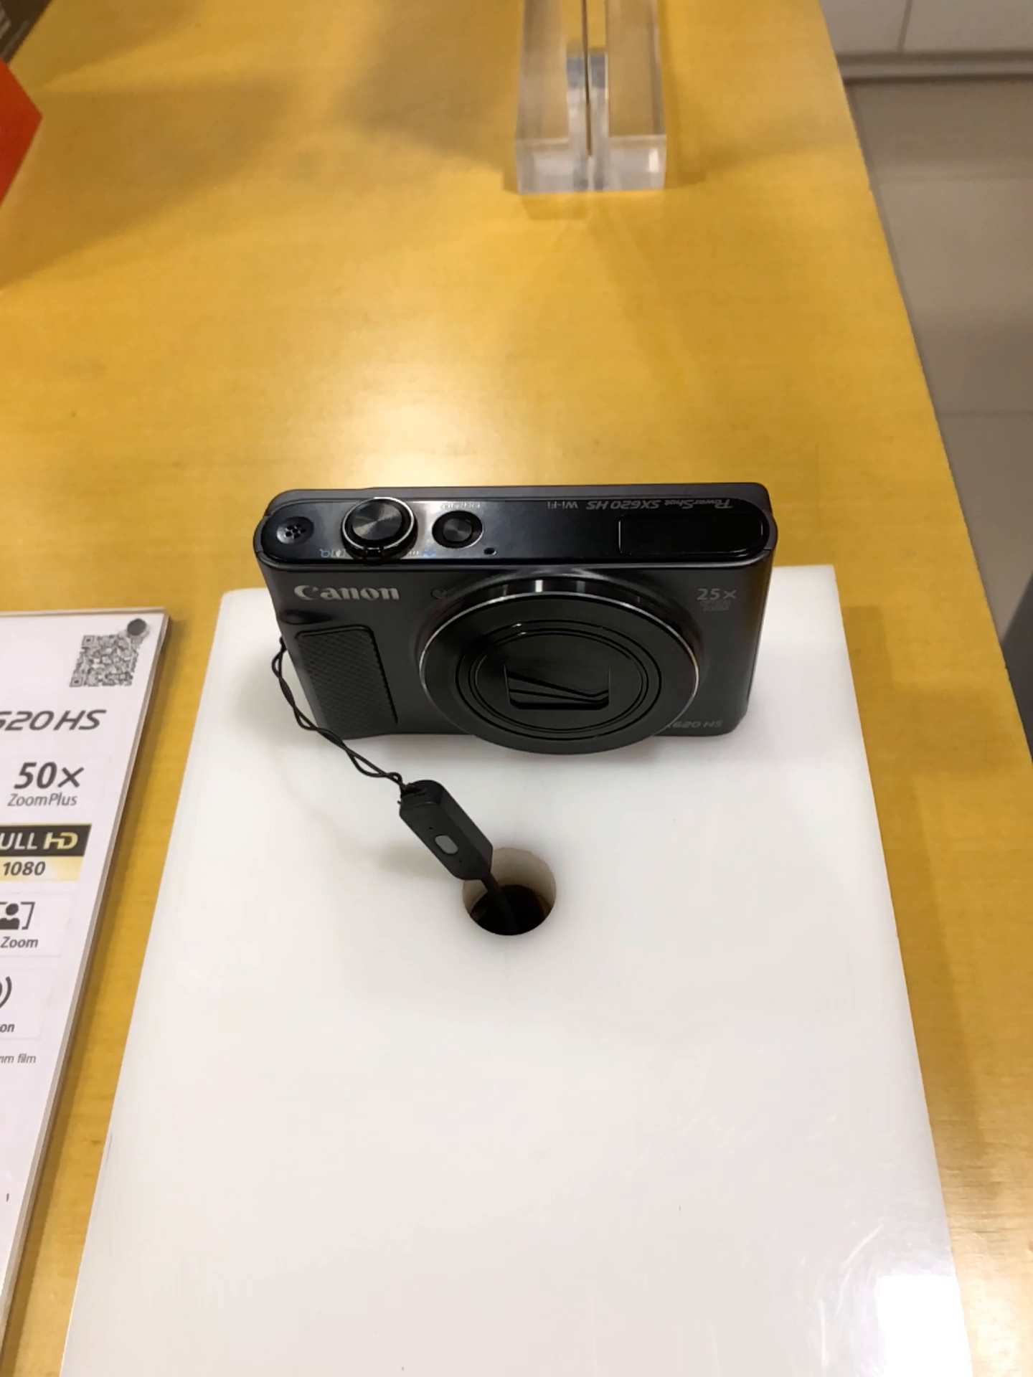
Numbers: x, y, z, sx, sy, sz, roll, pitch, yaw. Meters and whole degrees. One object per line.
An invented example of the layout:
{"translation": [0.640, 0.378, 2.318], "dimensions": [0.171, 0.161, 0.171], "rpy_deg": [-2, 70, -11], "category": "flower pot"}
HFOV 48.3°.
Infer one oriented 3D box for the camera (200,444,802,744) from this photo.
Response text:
{"translation": [-0.002, -0.017, 0.243], "dimensions": [0.110, 0.060, 0.030], "rpy_deg": [-1, 56, 3], "category": "camera"}
